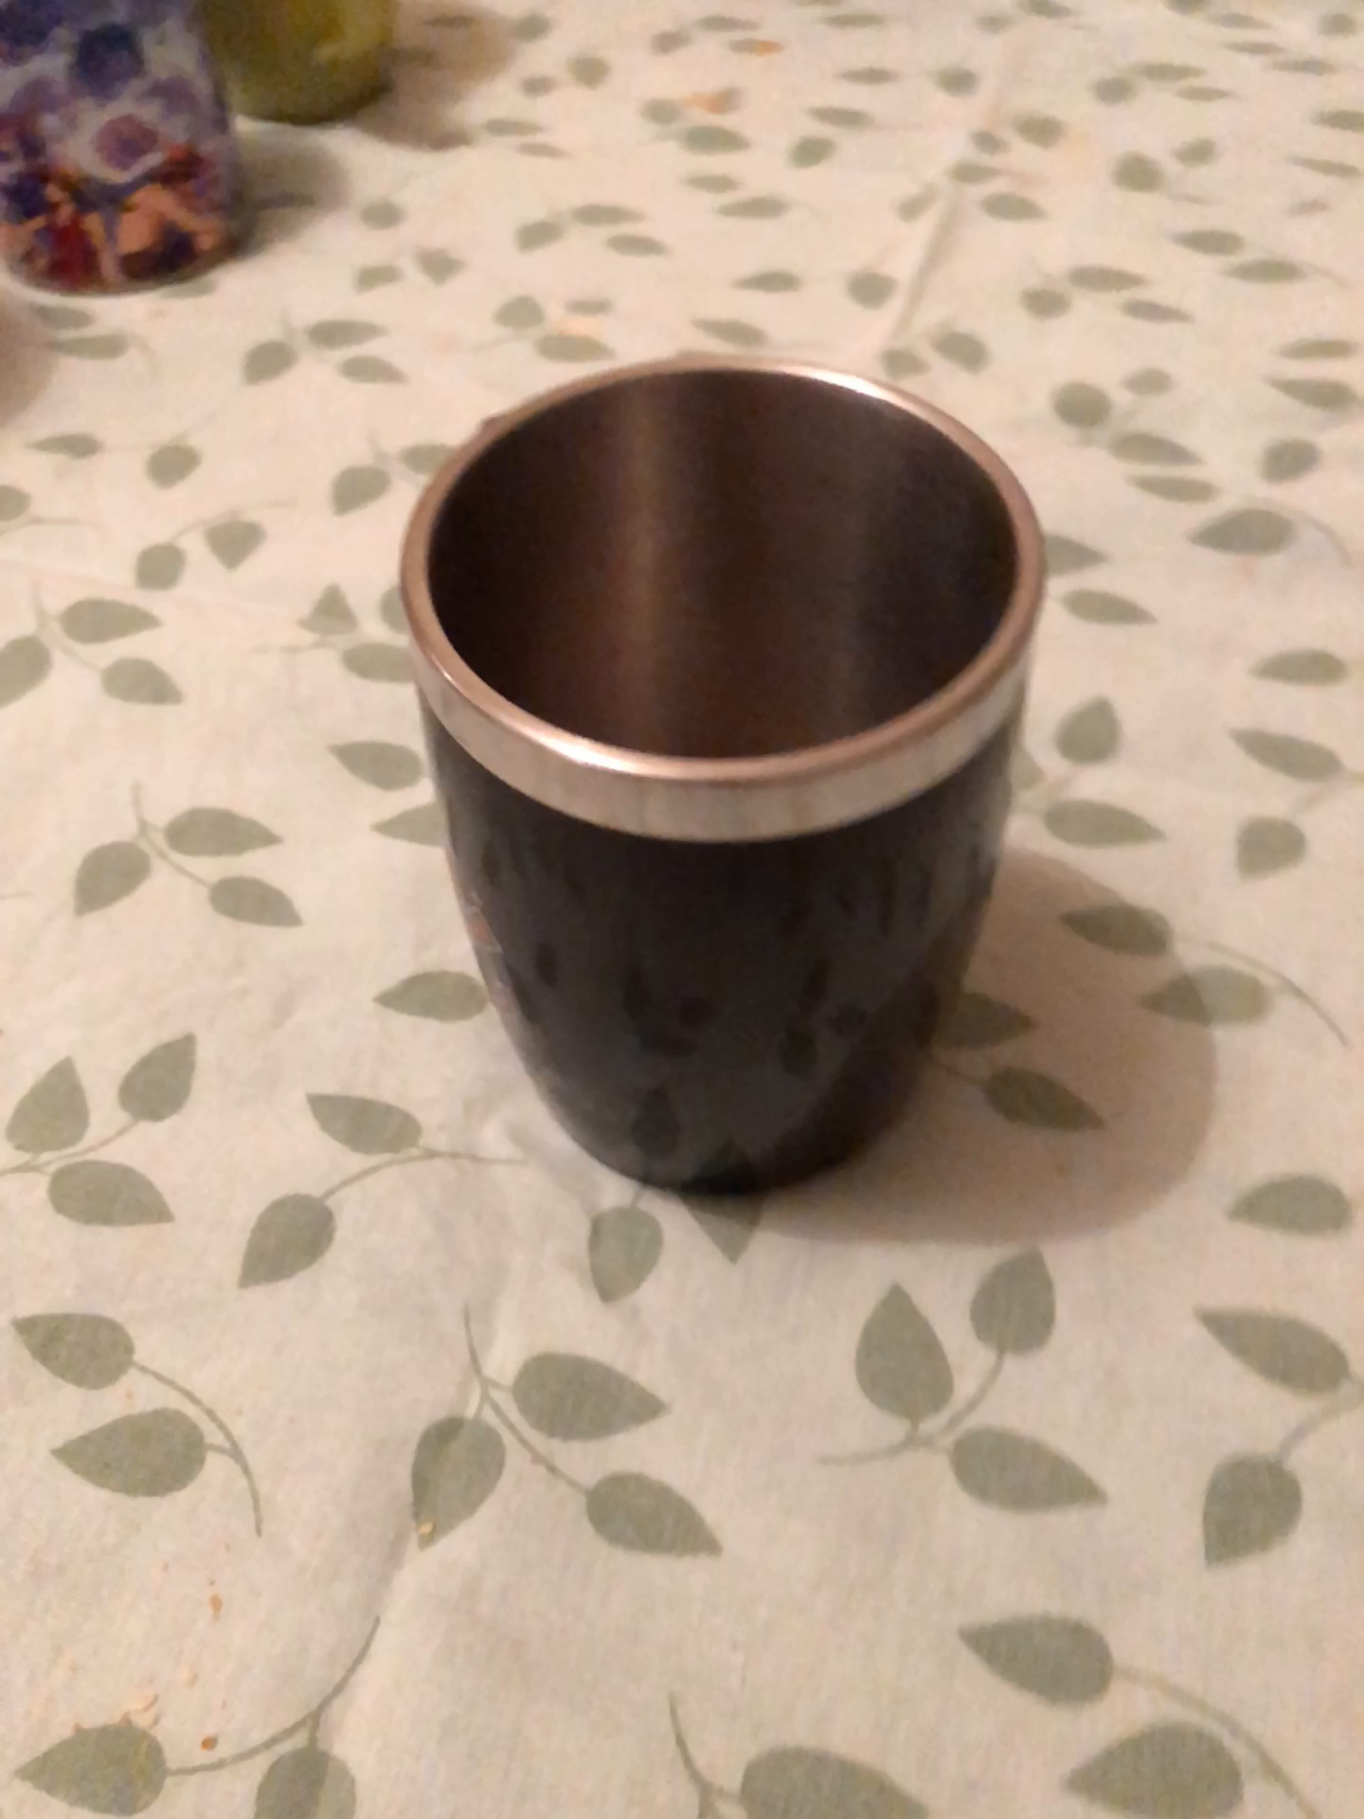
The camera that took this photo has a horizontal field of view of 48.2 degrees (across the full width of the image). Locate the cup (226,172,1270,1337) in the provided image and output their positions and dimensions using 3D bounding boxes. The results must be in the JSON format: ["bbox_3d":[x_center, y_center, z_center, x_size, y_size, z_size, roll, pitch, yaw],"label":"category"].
[{"bbox_3d":[0.003,-0.027,0.259,0.090,0.119,0.131,-25,55,-17],"label":"cup"}]
